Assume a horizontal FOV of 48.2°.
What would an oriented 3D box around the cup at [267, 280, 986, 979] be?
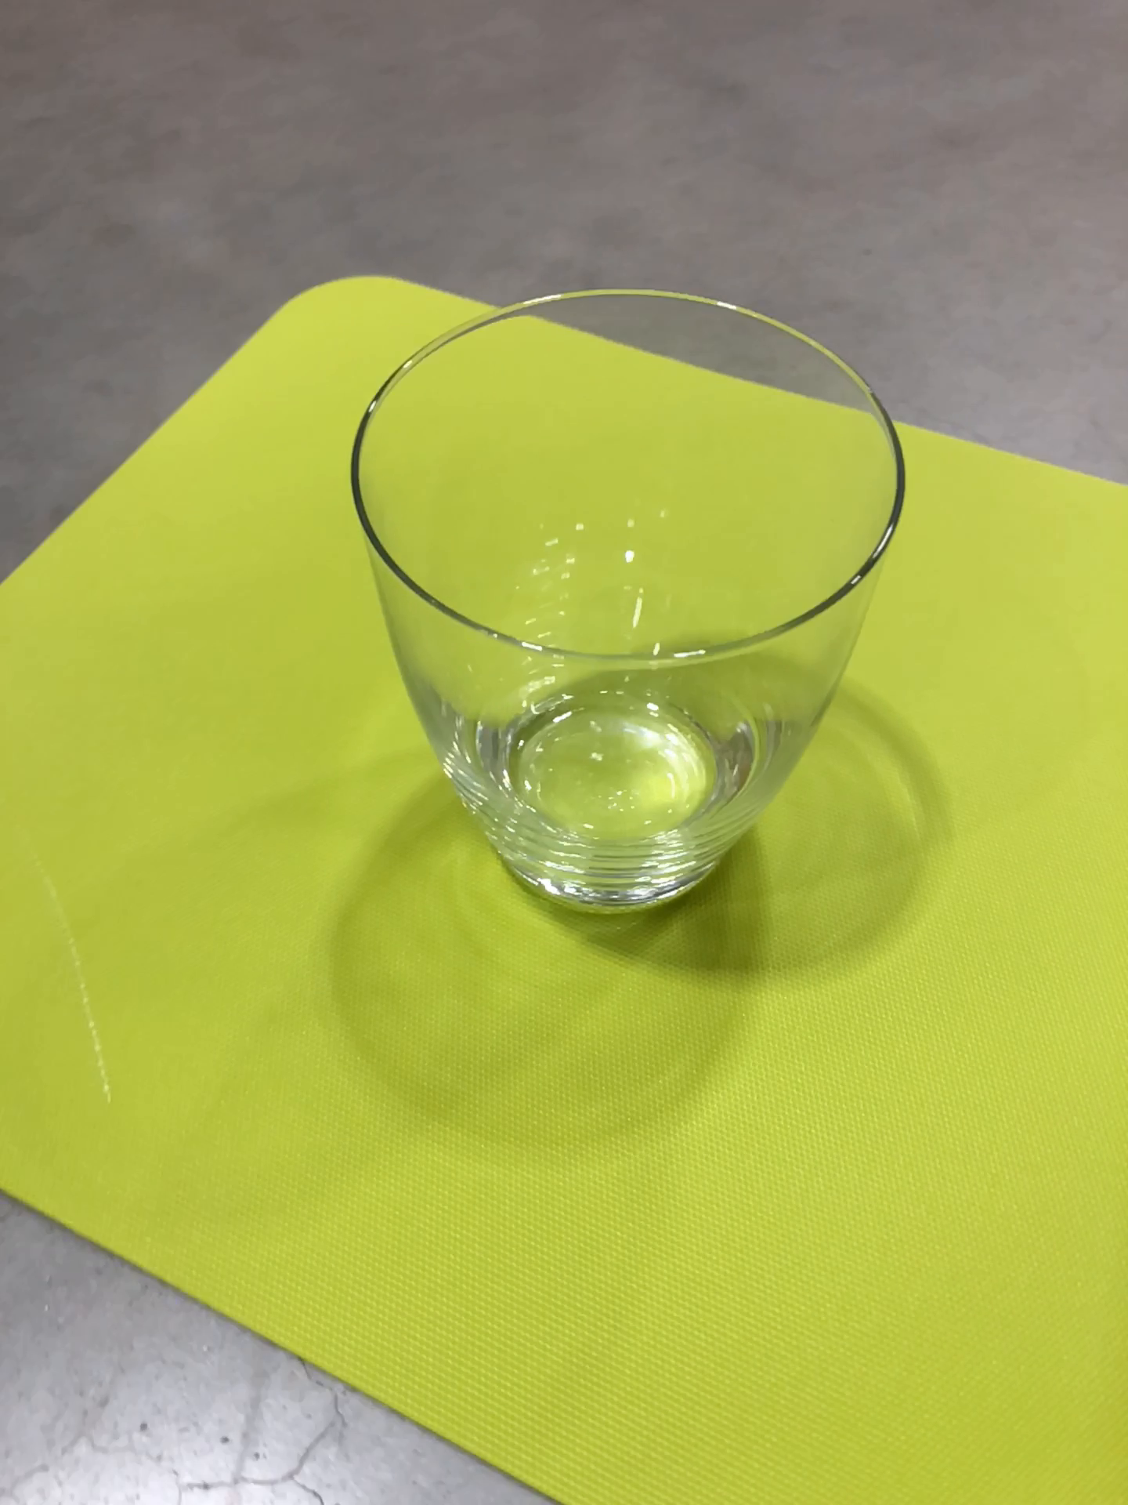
[{"bbox_3d":[0.009,-0.025,0.262,0.110,0.090,0.110,-1,53,1],"label":"cup"}]
